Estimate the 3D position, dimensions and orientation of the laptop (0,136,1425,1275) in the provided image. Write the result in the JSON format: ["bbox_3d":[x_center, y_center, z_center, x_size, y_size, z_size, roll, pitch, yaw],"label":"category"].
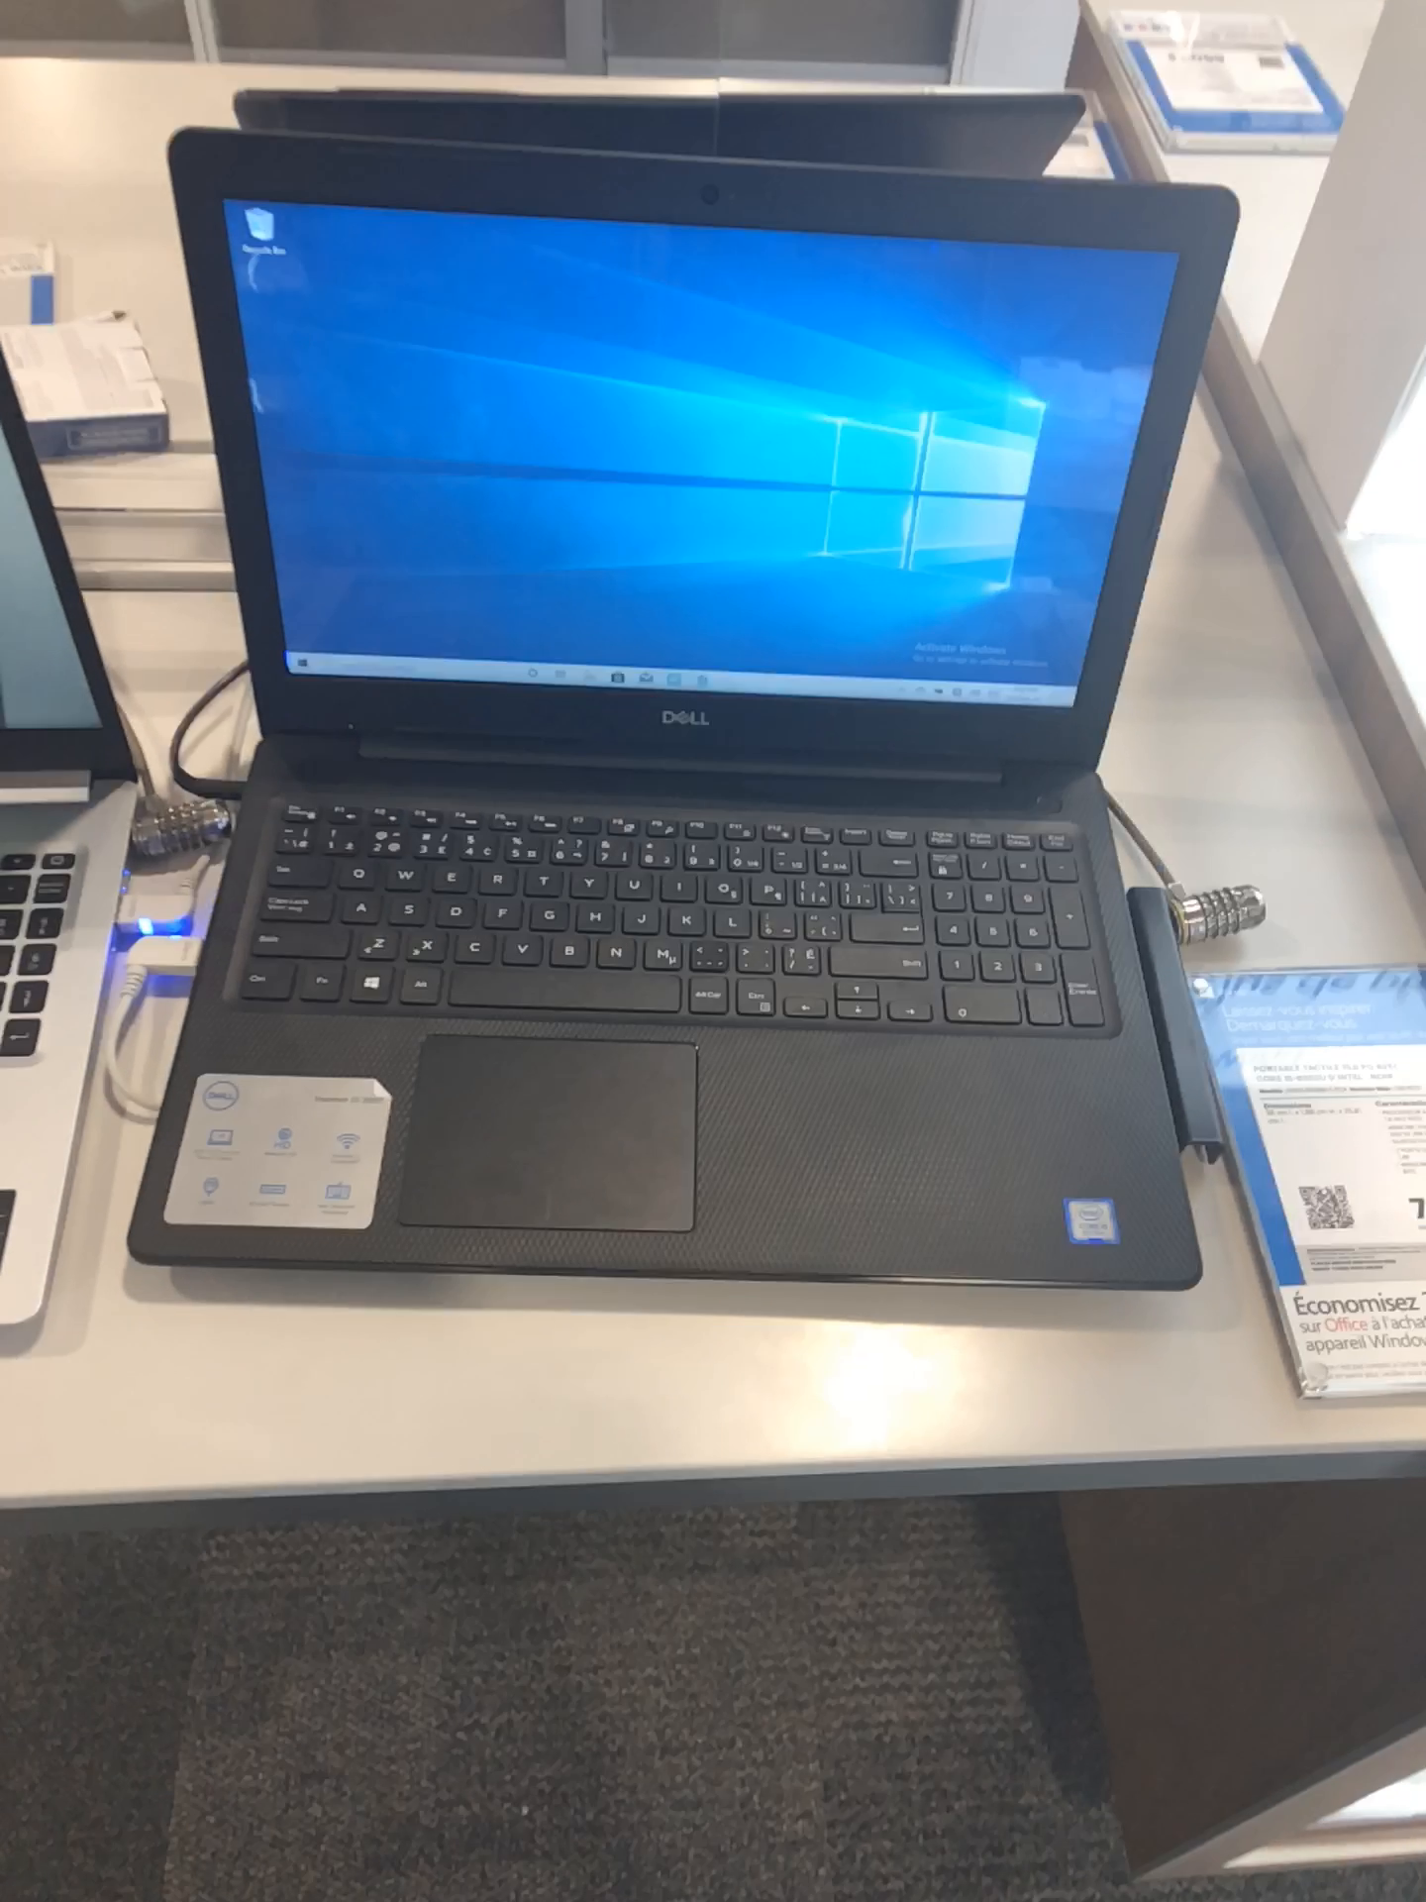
[{"bbox_3d":[-0.010,-0.085,0.552,0.368,0.231,0.310,2,52,-3],"label":"laptop"}]
